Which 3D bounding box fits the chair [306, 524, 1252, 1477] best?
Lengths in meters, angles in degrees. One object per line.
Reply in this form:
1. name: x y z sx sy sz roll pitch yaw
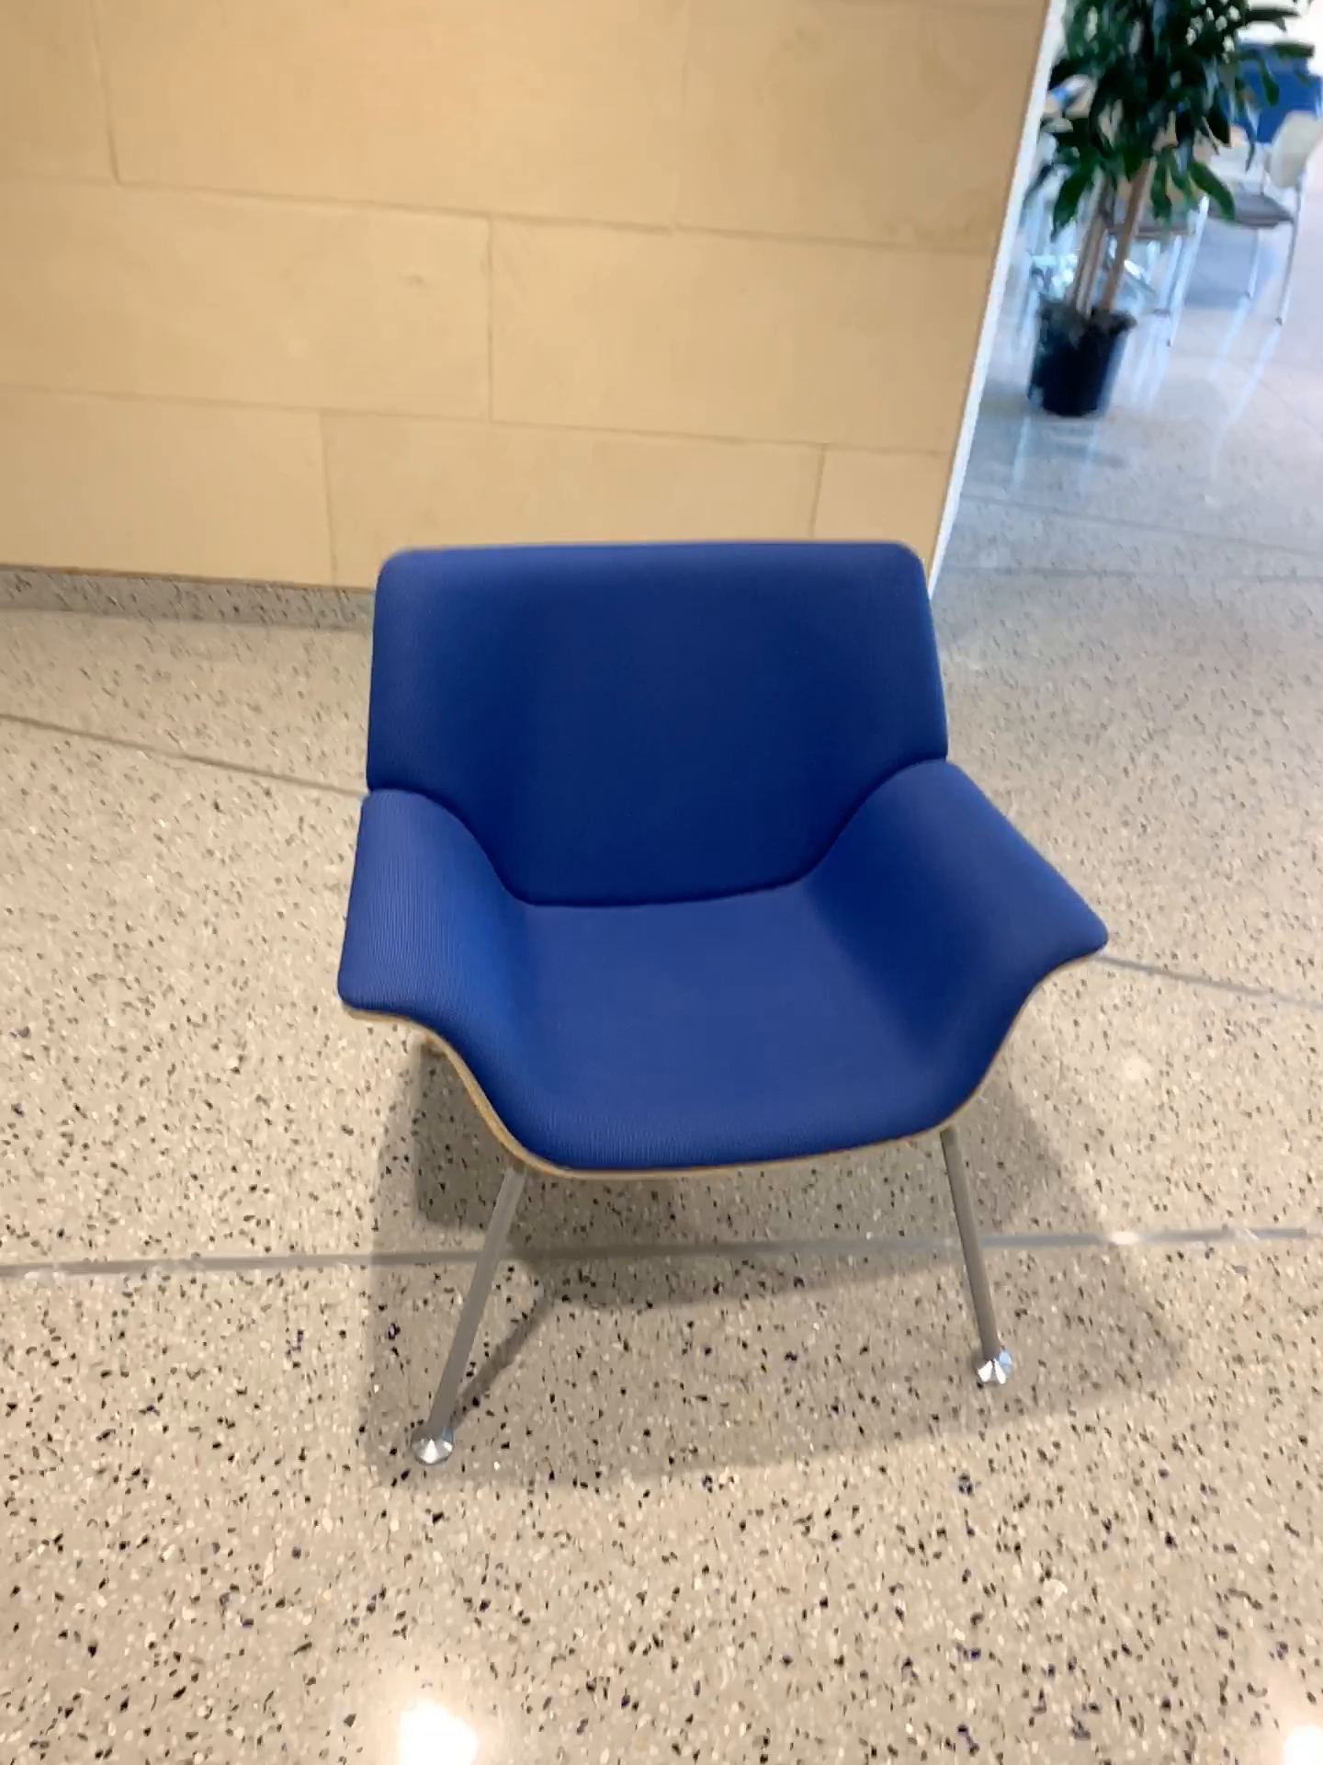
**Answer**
1. chair: 0.020 0.081 1.578 0.778 0.727 0.764 -3 37 -12
